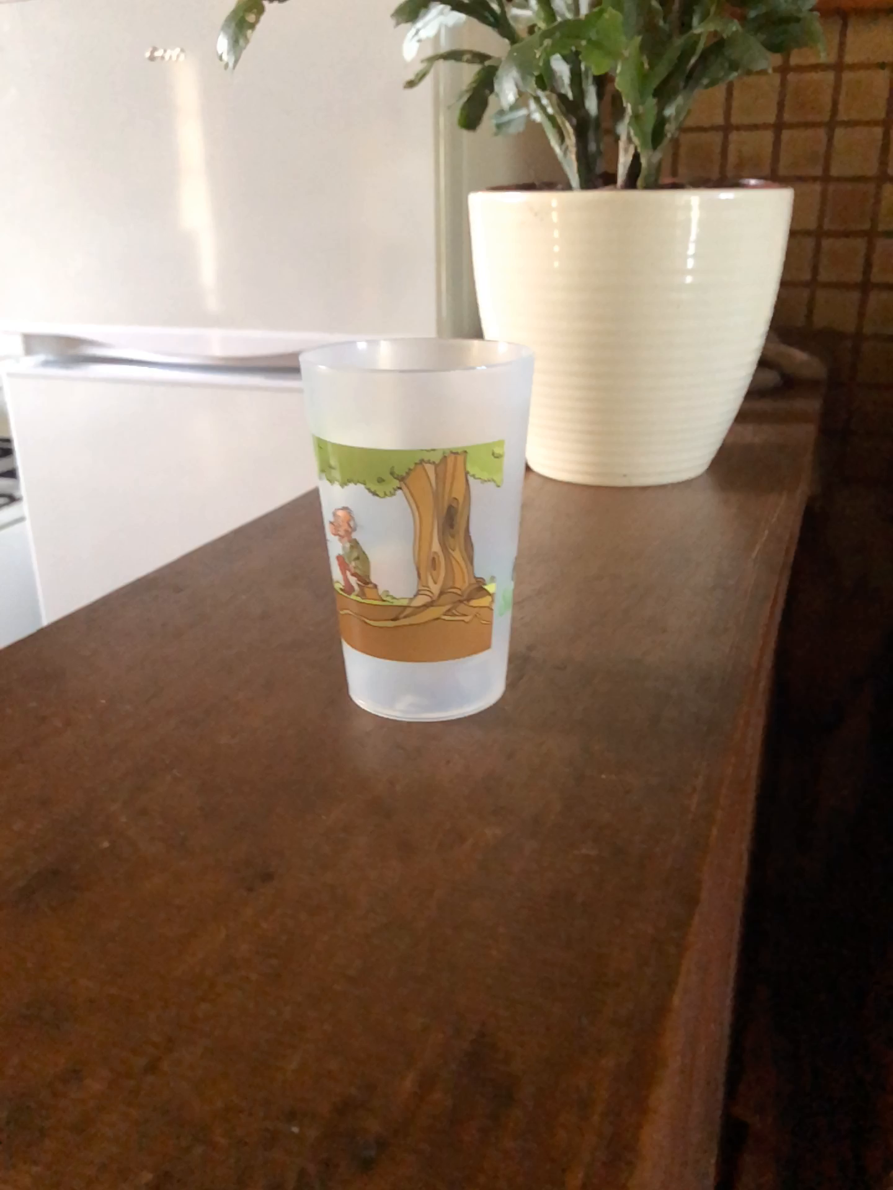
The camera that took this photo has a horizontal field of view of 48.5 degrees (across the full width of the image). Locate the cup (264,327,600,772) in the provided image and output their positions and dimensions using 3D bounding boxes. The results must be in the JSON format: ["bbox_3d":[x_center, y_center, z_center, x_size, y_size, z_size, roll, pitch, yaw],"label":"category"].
[{"bbox_3d":[-0.007,-0.021,0.328,0.080,0.119,0.080,0,21,0],"label":"cup"}]

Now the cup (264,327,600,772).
[{"bbox_3d":[-0.007,-0.021,0.328,0.080,0.119,0.080,0,21,0],"label":"cup"}]
